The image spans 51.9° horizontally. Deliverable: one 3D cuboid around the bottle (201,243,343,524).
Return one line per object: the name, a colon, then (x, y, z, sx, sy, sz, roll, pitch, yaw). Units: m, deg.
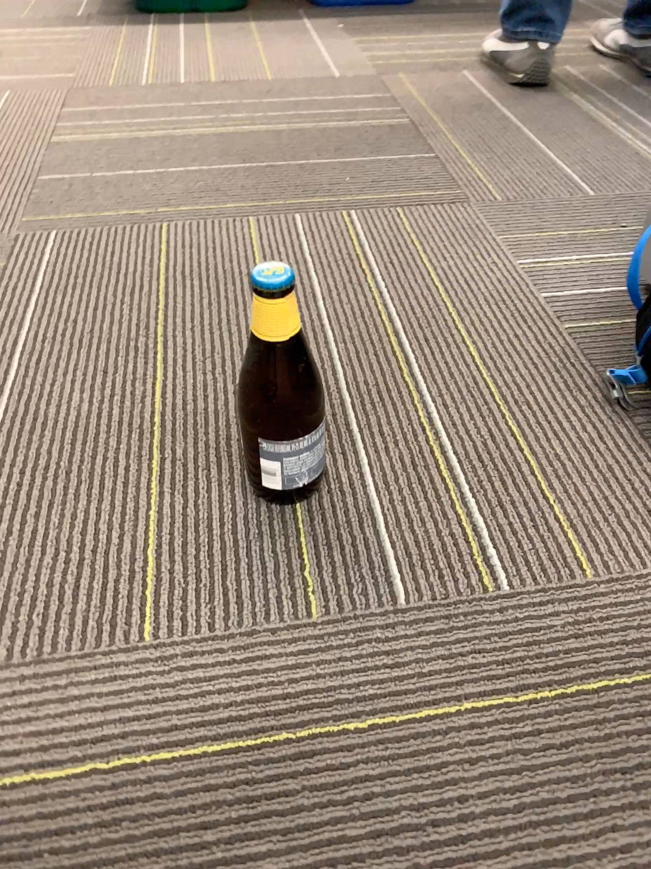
bottle: (-0.033, -0.029, 0.460, 0.060, 0.179, 0.060, 0, 43, 0)
